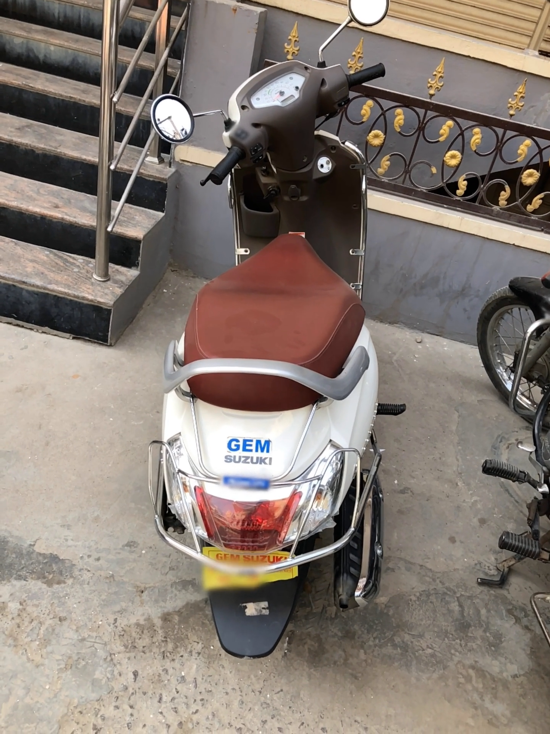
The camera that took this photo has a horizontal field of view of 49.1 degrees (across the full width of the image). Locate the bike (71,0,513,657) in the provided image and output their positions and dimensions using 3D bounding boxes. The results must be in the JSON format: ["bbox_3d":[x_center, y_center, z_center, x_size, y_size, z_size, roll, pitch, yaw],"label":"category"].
[{"bbox_3d":[-0.056,-0.285,1.739,0.597,1.194,1.494,10,36,-6],"label":"bike"}]
